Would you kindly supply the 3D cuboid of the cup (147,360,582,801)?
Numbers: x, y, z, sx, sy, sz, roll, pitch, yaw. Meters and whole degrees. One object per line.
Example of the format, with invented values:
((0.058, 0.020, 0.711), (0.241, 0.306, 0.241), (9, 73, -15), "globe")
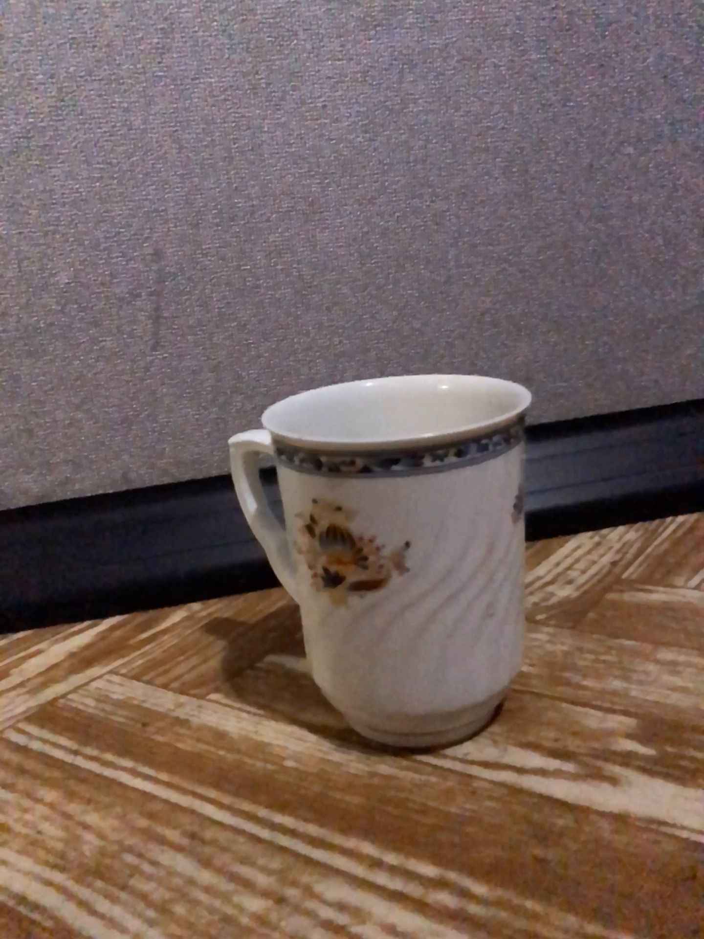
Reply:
((0.003, 0.022, 0.262), (0.077, 0.099, 0.118), (-21, 22, -39), "cup")
